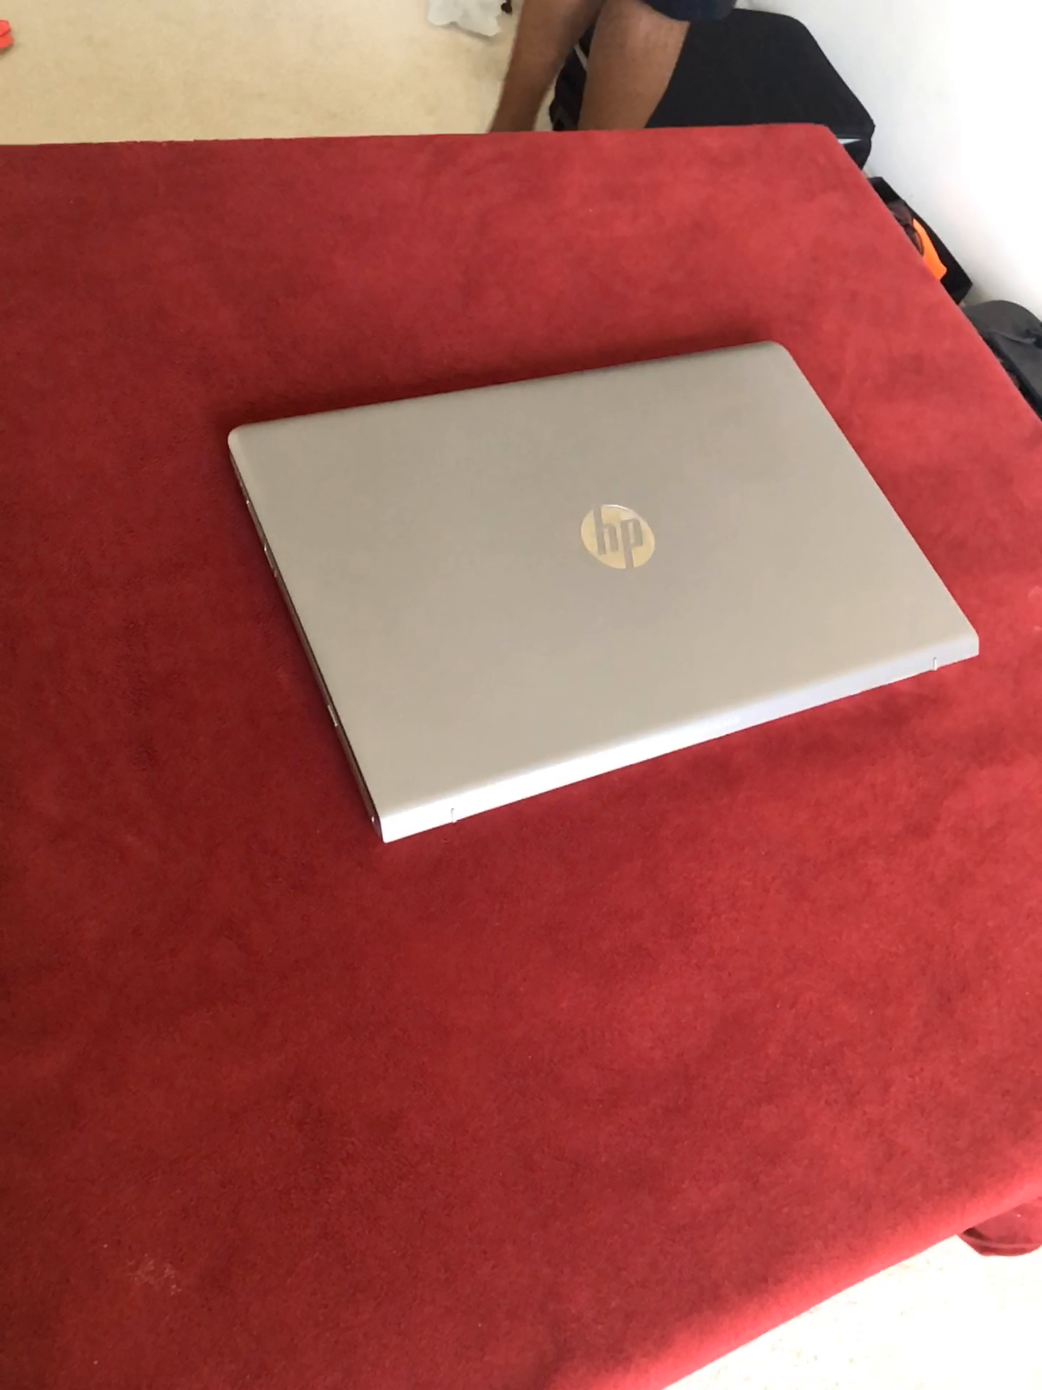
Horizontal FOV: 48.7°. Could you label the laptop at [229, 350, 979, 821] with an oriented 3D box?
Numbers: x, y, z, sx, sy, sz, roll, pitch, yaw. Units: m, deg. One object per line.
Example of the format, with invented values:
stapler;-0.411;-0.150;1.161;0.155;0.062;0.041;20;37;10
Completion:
laptop;0.054;-0.085;0.647;0.372;0.006;0.234;-15;64;-23
